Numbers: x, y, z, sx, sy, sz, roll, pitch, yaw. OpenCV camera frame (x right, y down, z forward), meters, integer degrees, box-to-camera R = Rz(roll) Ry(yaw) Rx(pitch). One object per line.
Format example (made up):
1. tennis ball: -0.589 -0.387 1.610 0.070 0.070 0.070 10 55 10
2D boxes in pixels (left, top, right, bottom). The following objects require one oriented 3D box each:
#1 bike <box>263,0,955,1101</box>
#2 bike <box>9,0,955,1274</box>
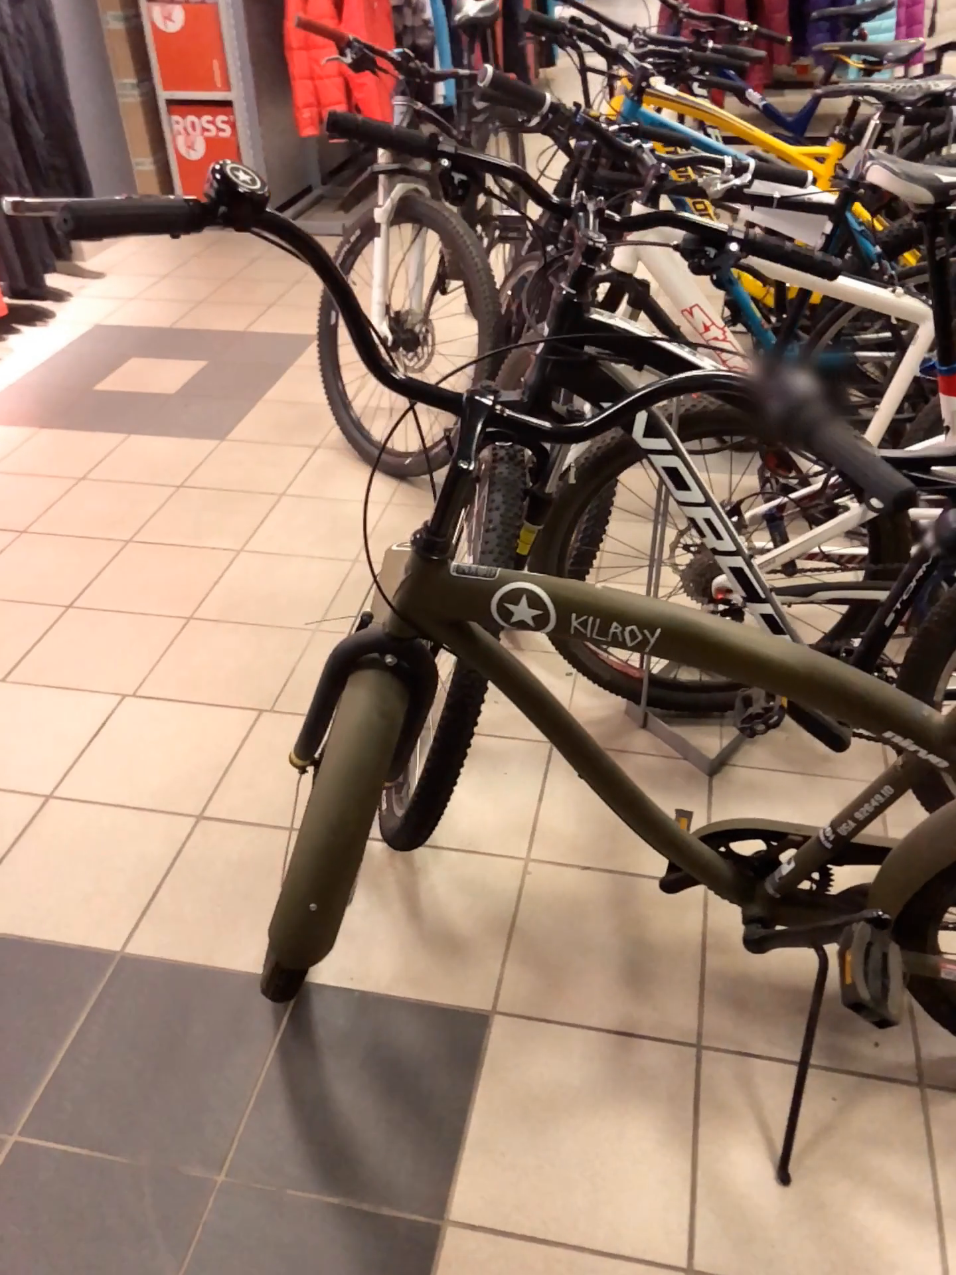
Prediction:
1. bike: 0.336 -0.269 1.513 0.974 1.228 0.667 19 40 16
2. bike: 0.444 -0.018 1.167 1.497 1.130 0.835 20 40 22
